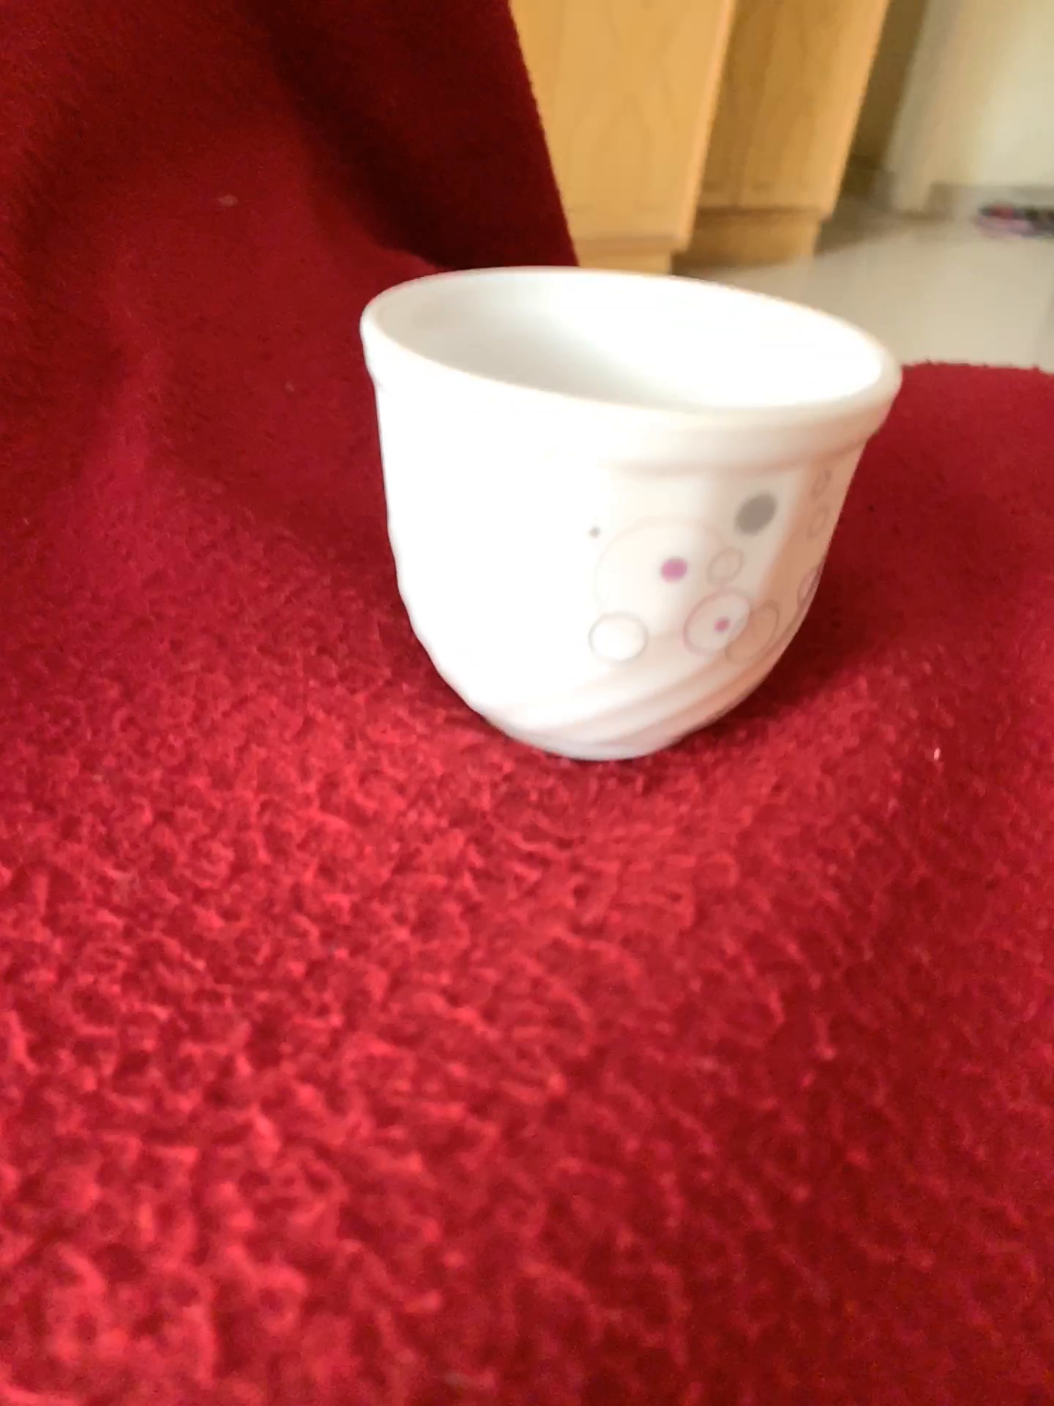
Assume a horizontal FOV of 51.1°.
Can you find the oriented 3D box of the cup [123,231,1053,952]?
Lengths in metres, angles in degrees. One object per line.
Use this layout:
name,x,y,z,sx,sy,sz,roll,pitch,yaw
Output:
cup,0.010,-0.029,0.160,0.100,0.050,0.080,-25,47,-39
